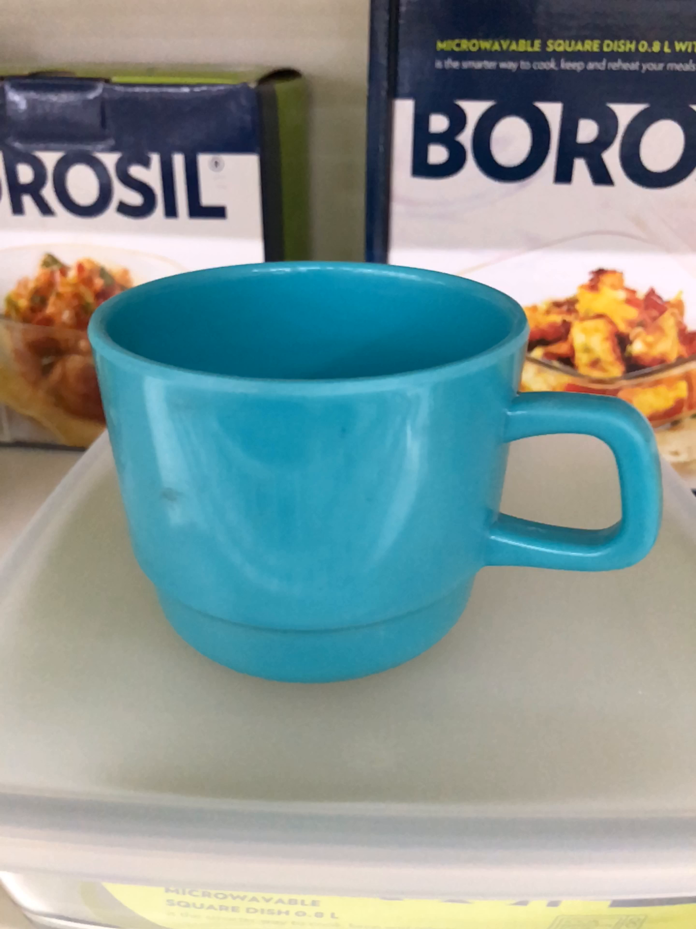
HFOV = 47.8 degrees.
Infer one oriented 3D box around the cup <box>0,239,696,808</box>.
[{"bbox_3d":[0.010,-0.001,0.167,0.120,0.070,0.091,7,27,12],"label":"cup"}]
